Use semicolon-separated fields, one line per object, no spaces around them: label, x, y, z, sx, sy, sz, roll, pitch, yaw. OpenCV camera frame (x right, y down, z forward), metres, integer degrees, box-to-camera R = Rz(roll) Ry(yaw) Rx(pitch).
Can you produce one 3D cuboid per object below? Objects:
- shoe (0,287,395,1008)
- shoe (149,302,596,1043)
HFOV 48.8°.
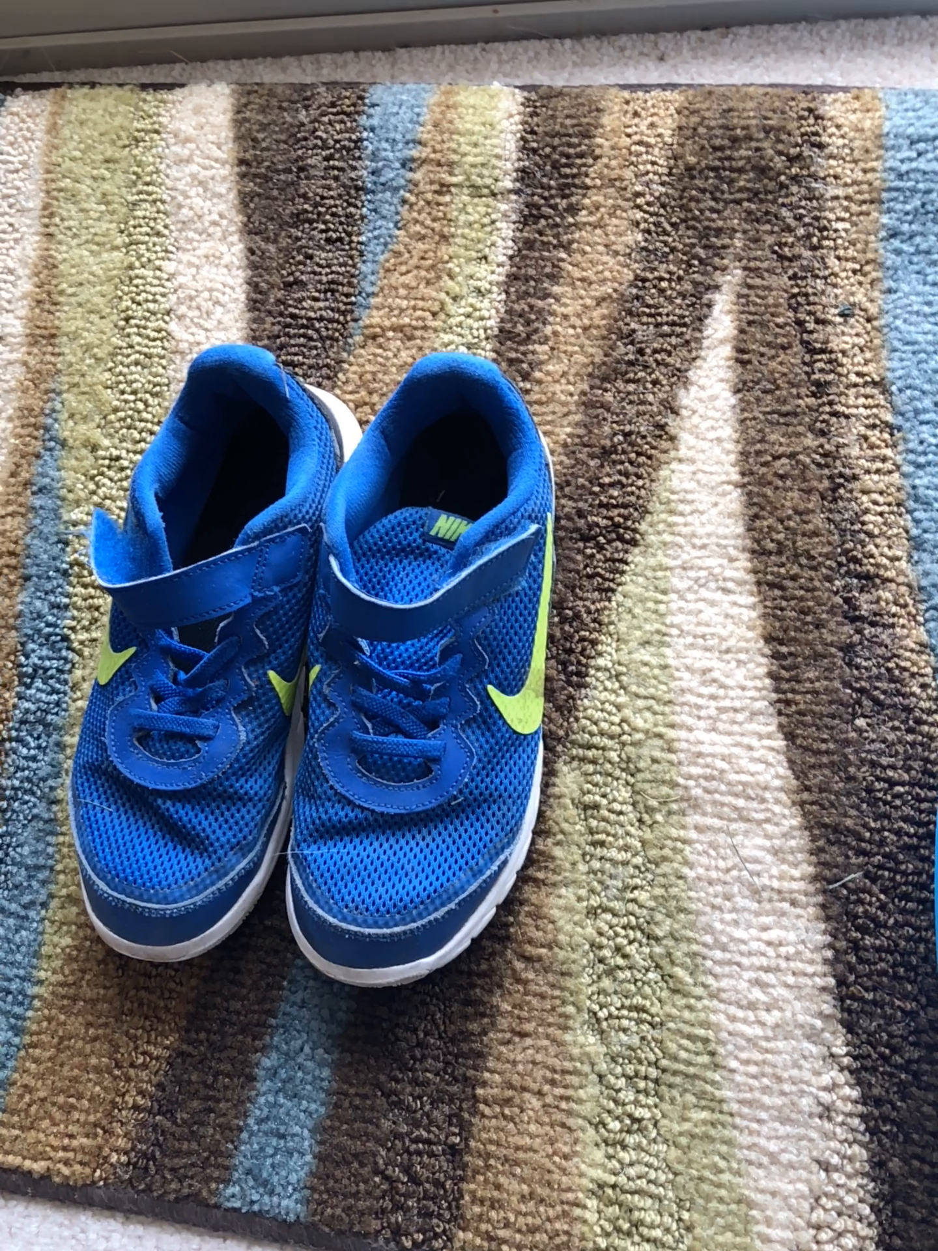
shoe;-0.110;0.004;0.380;0.102;0.075;0.233;11;76;10
shoe;-0.022;0.012;0.366;0.103;0.075;0.231;7;75;9
